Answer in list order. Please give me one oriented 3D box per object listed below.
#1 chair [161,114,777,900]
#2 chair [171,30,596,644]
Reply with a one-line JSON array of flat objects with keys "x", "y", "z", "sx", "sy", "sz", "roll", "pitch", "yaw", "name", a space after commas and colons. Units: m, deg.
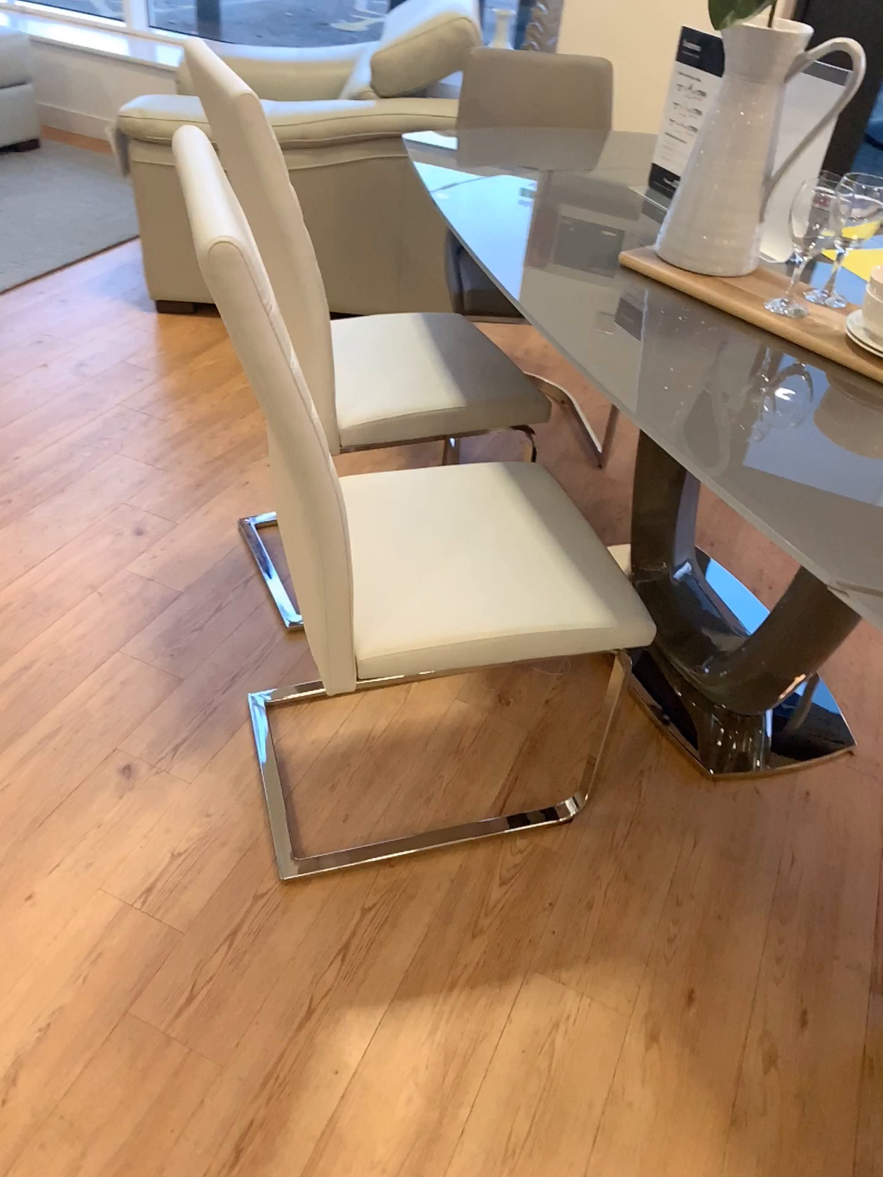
[{"x": -0.039, "y": -0.079, "z": 1.225, "sx": 0.535, "sy": 0.923, "sz": 0.425, "roll": -8, "pitch": 41, "yaw": -17, "name": "chair"}, {"x": -0.143, "y": -0.438, "z": 1.656, "sx": 0.526, "sy": 0.933, "sz": 0.435, "roll": -12, "pitch": 43, "yaw": -22, "name": "chair"}]
